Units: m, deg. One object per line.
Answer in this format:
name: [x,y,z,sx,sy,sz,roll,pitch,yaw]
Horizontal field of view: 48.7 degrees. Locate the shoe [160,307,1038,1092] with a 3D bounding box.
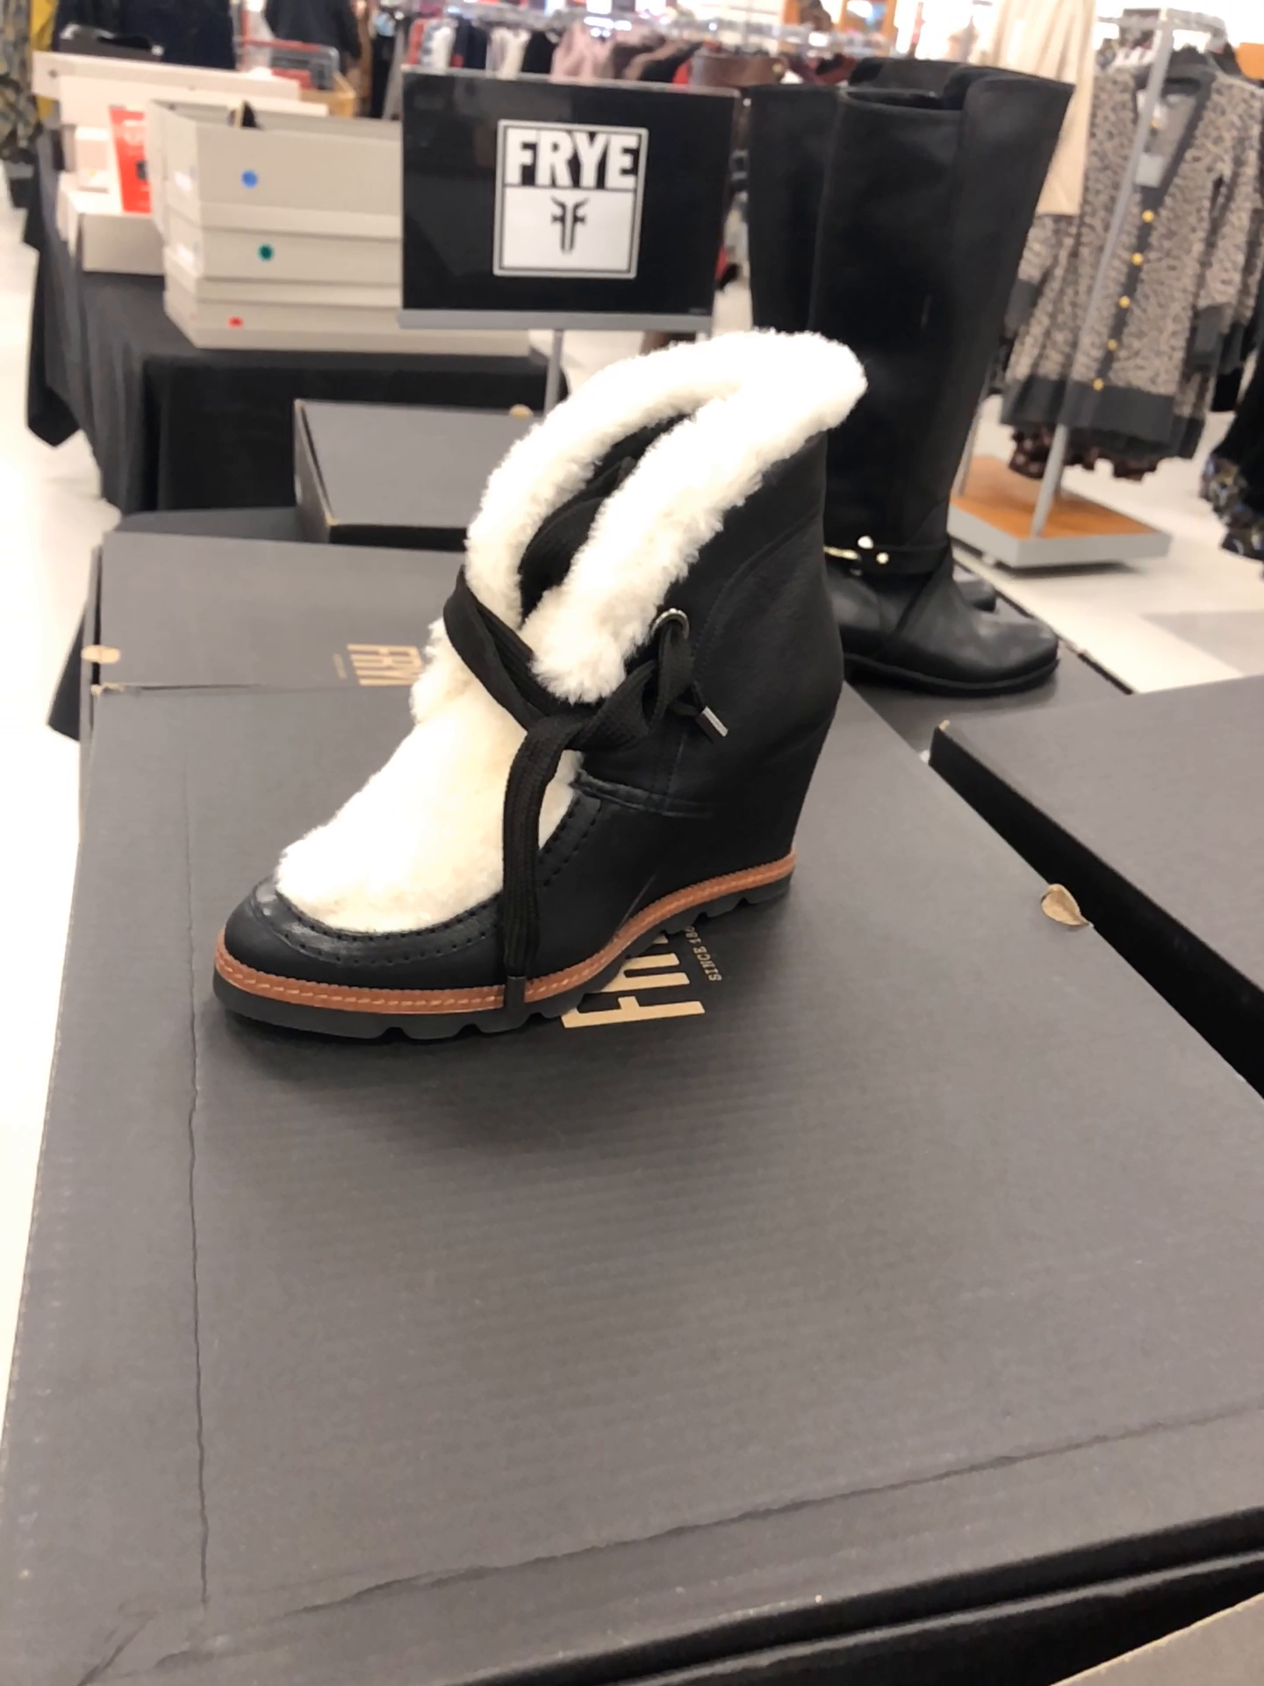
shoe: [-0.016,-0.056,0.468,0.247,0.207,0.101,-9,32,-27]
